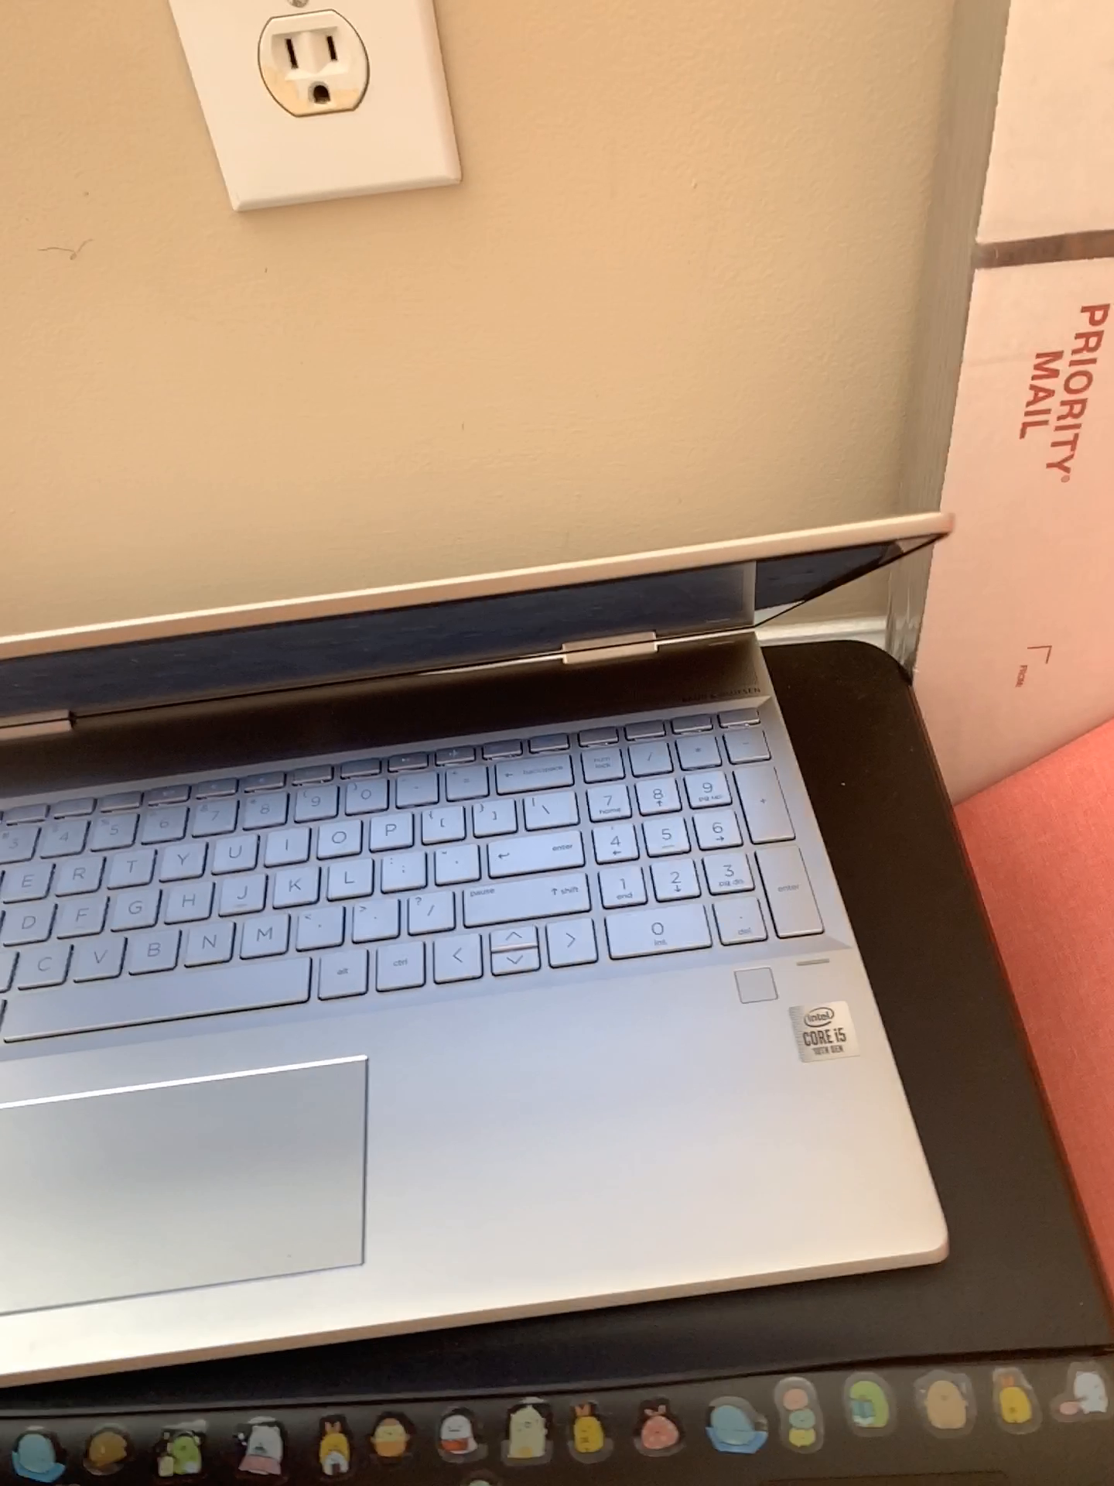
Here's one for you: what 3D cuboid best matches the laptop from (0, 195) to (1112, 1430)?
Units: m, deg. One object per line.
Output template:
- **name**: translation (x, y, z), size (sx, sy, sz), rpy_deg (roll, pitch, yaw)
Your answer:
- **laptop**: translation (-0.095, 0.008, 0.313), size (0.350, 0.169, 0.238), rpy_deg (-8, 46, 0)
